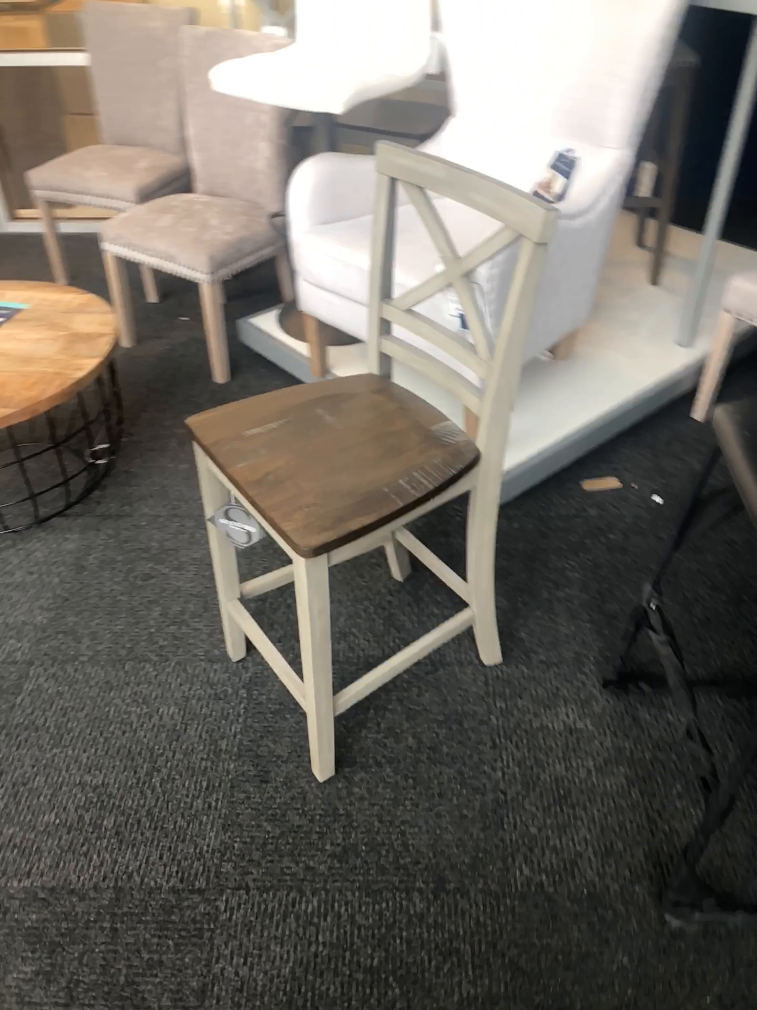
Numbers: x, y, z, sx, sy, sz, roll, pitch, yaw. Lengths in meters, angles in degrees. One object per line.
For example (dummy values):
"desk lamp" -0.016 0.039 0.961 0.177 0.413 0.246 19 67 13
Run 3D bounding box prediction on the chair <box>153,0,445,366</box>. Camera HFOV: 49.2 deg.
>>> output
"chair" -0.156 -0.899 2.029 0.380 0.914 0.486 31 49 33

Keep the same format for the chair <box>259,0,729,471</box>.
"chair" 0.250 -0.788 2.049 0.691 1.014 0.707 31 49 33

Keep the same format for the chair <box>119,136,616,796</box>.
"chair" -0.019 -0.059 1.465 0.536 0.934 0.471 -24 44 -25

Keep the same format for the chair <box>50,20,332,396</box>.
"chair" -0.539 -0.954 2.662 0.490 0.944 0.577 21 44 25

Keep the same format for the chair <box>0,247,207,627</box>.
"chair" -0.882 -0.205 2.023 0.520 0.536 0.687 20 43 24

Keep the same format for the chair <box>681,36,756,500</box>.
"chair" 1.284 -0.613 2.136 0.586 0.924 0.521 -23 44 -25

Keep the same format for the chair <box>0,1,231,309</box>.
"chair" -0.999 -1.356 3.214 0.509 0.944 0.577 12 41 16

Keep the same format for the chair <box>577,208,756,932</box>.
"chair" 0.684 0.130 1.226 0.534 0.934 0.542 -2 39 -1
